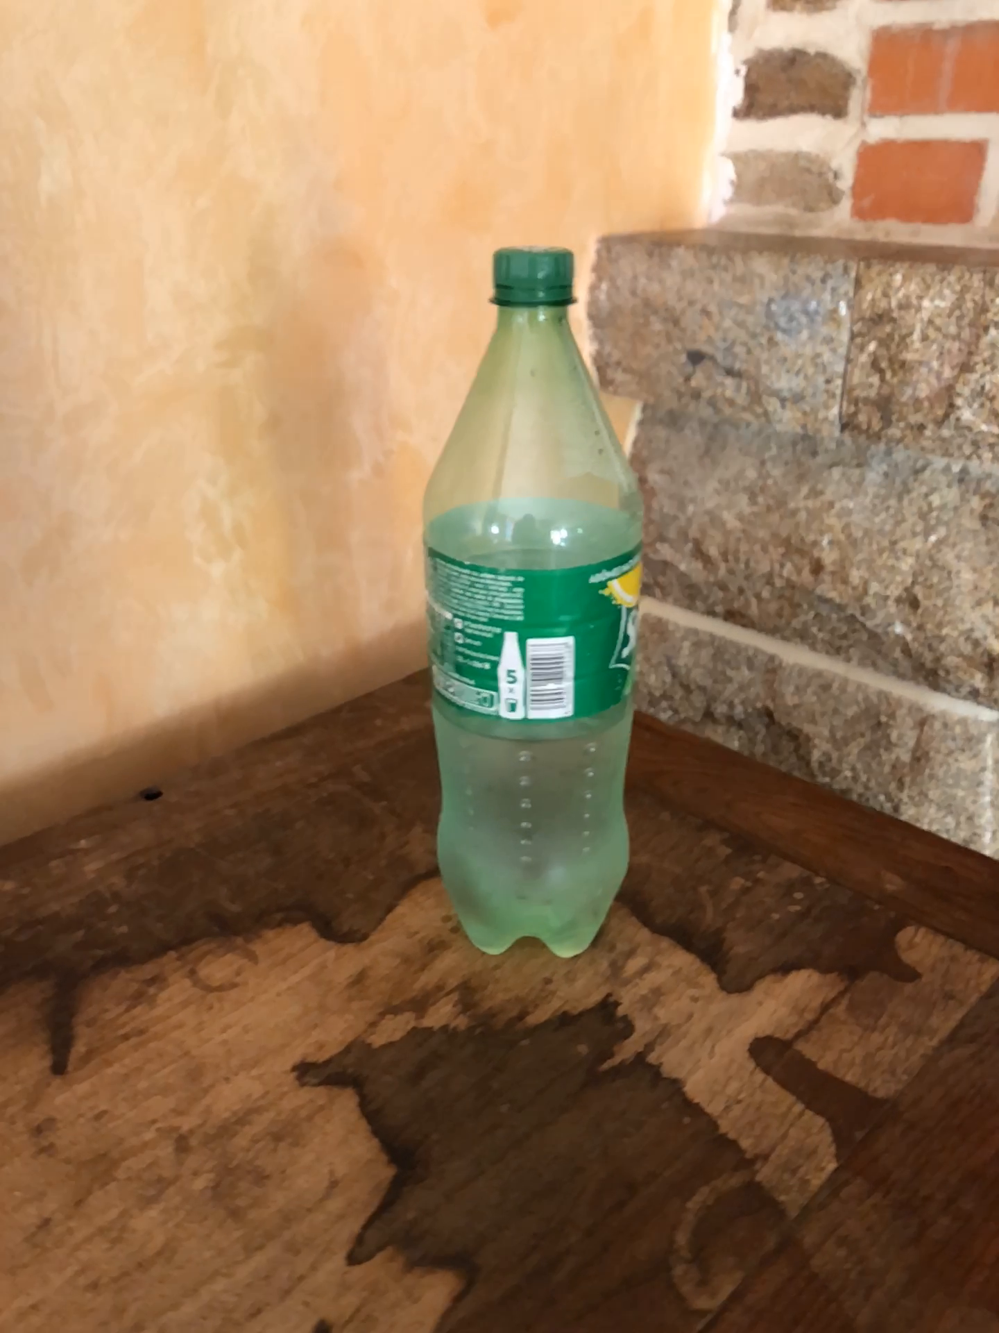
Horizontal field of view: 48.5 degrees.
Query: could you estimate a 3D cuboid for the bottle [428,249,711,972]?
[{"bbox_3d":[0.022,-0.017,0.450,0.090,0.278,0.090,0,24,0],"label":"bottle"}]
